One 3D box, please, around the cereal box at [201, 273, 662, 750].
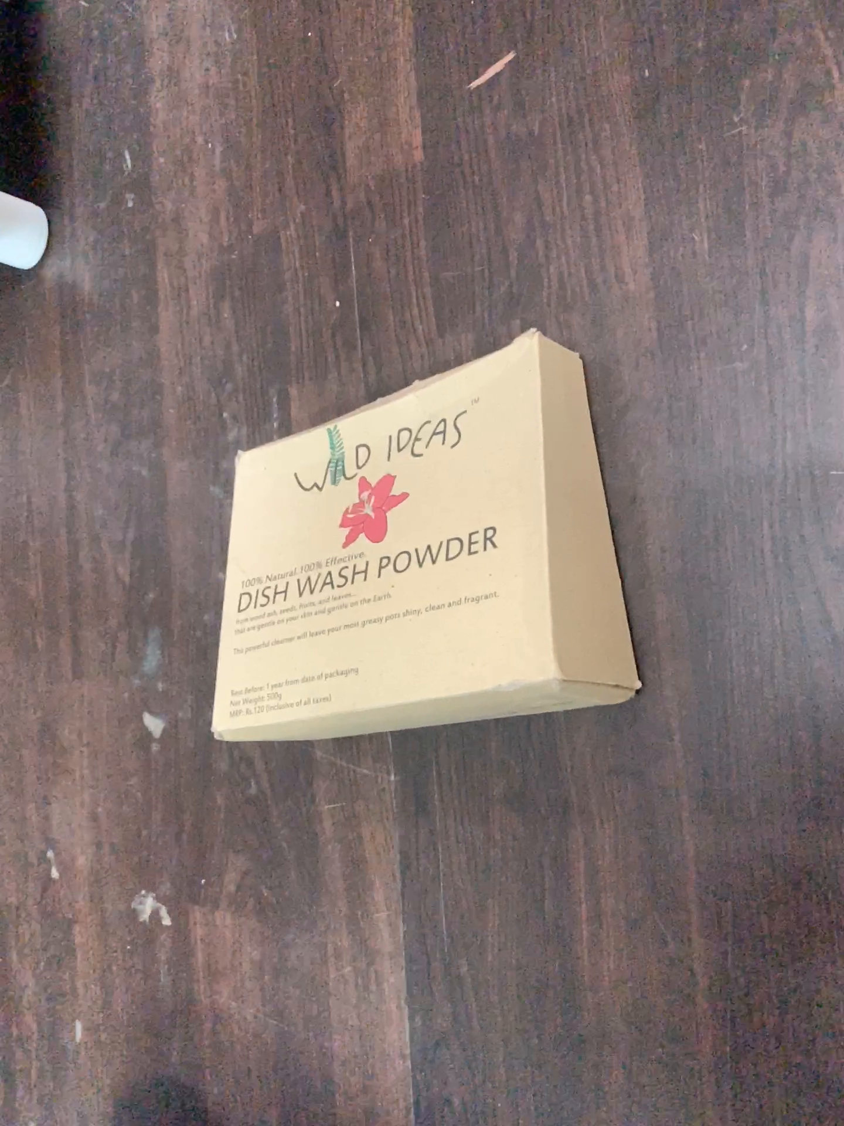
[{"bbox_3d":[-0.004,-0.008,0.365,0.181,0.060,0.150,-15,65,35],"label":"cereal box"}]
